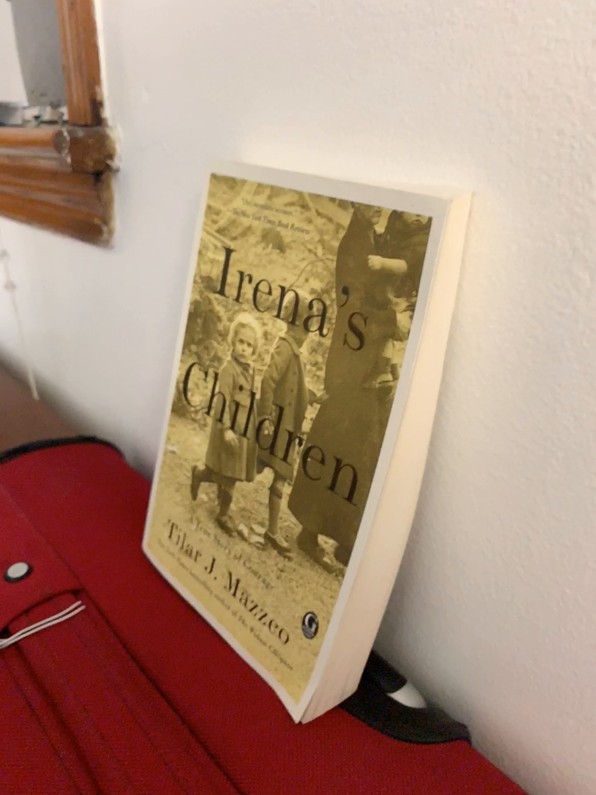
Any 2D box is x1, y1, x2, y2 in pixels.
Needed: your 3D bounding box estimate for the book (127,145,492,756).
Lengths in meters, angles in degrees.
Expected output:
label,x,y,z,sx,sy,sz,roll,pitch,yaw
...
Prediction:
label,x,y,z,sx,sy,sz,roll,pitch,yaw
book,-0.018,0.008,0.294,0.030,0.229,0.171,-3,20,-40
